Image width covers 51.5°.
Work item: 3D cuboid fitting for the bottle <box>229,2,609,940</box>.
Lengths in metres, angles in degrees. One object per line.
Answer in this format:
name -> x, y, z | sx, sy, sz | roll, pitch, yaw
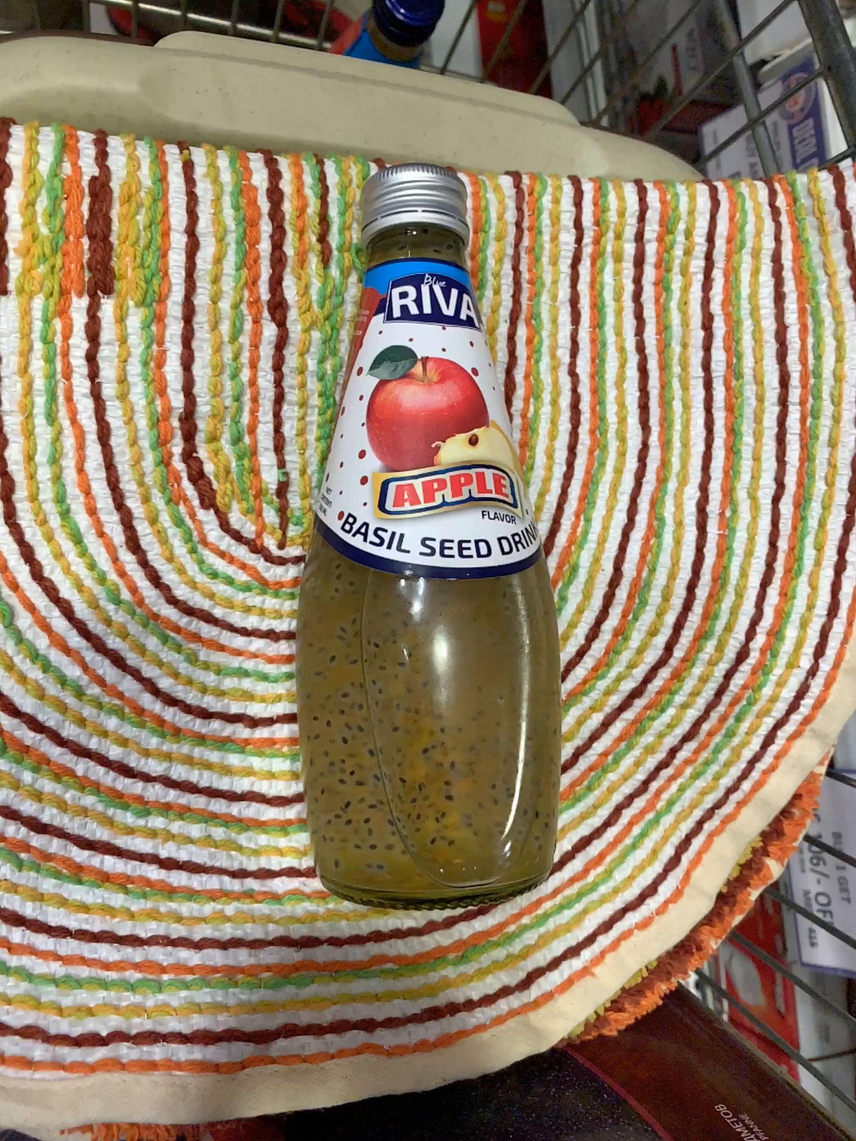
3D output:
bottle -> -0.008, -0.025, 0.217 | 0.070, 0.050, 0.200 | -1, 81, -17
